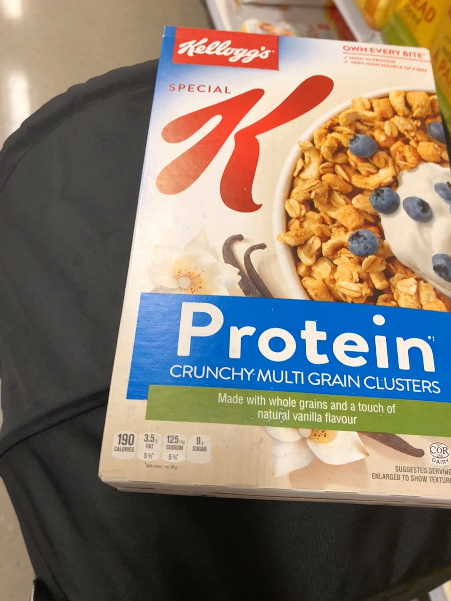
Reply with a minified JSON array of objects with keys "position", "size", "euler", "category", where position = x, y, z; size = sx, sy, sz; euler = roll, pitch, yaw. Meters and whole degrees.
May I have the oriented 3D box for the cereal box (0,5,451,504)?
[{"position":[0.015,-0.043,0.272],"size":[0.190,0.050,0.270],"euler":[4,63,-1],"category":"cereal box"}]
